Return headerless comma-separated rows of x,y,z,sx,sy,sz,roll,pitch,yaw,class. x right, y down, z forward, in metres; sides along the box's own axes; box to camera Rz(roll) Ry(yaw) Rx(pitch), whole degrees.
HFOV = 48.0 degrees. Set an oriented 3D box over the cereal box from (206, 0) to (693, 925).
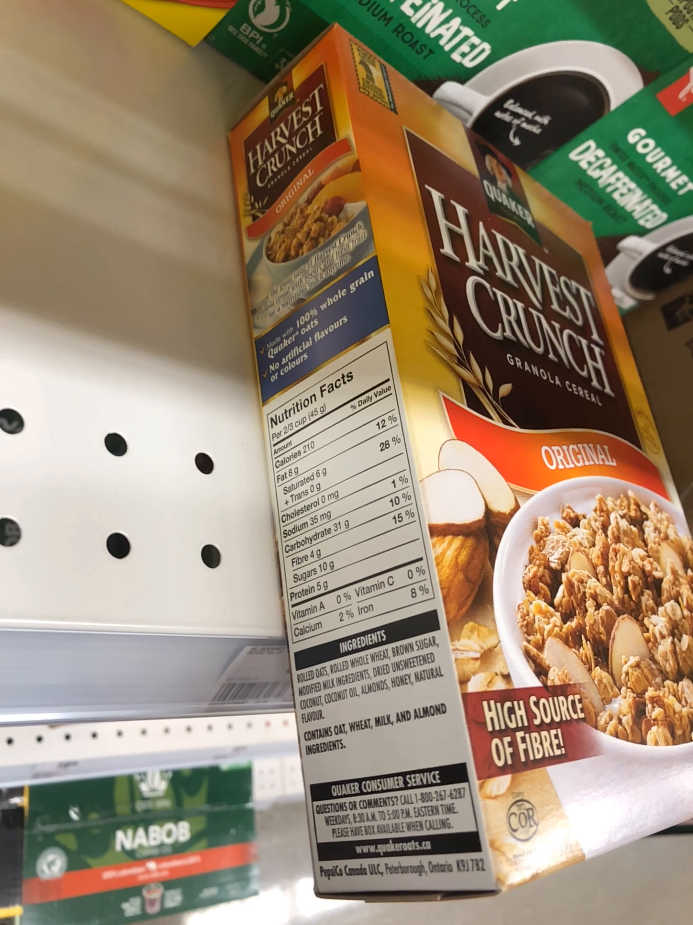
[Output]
0.051,-0.023,0.258,0.171,0.050,0.280,13,60,-44,cereal box
